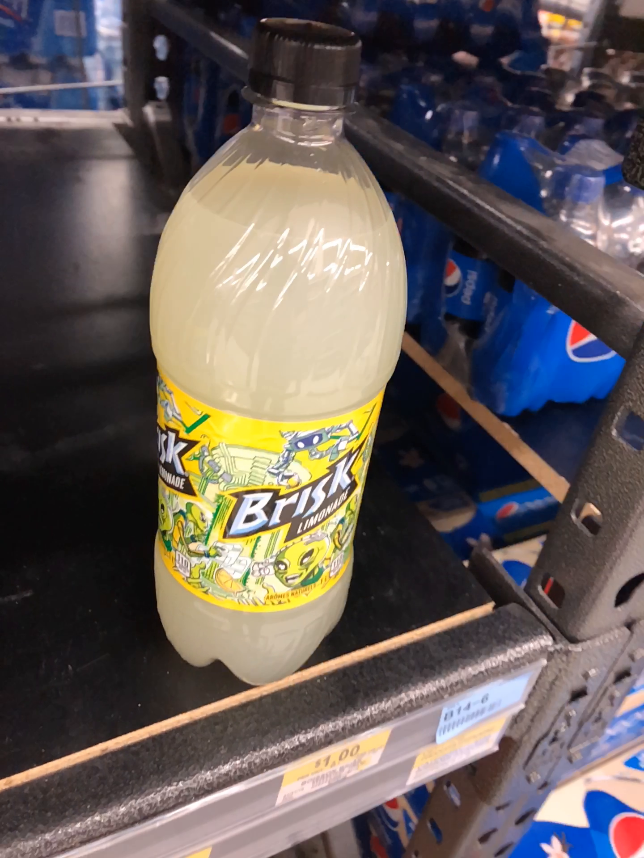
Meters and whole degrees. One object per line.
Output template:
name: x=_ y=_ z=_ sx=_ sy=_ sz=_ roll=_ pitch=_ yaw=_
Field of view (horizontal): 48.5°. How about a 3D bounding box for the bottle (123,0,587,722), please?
bottle: x=-0.012 y=-0.014 z=0.252 sx=0.090 sy=0.228 sz=0.091 roll=7 pitch=36 yaw=-5
